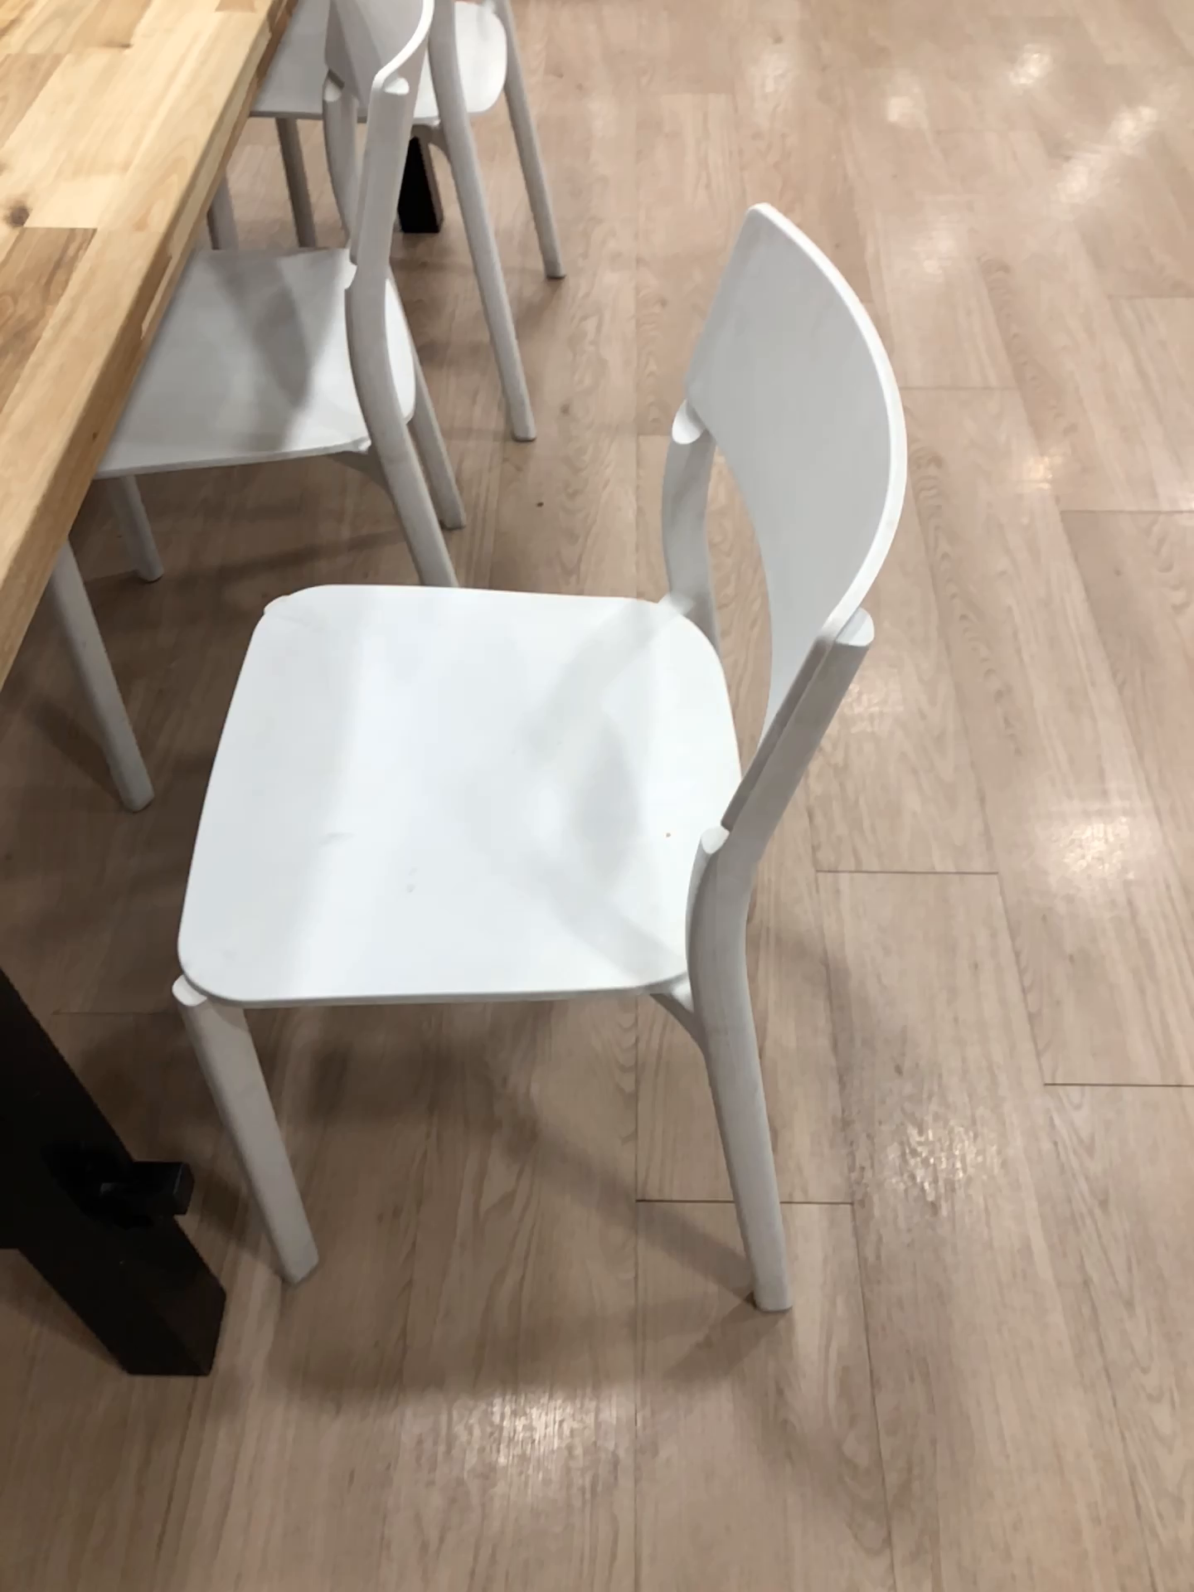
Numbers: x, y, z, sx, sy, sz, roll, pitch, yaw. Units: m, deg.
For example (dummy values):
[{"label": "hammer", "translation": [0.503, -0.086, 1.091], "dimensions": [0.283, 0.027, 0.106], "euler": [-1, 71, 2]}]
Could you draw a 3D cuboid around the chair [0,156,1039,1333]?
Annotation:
[{"label": "chair", "translation": [-0.097, 0.009, 0.979], "dimensions": [0.560, 0.716, 0.533], "euler": [-1, 50, 0]}]
